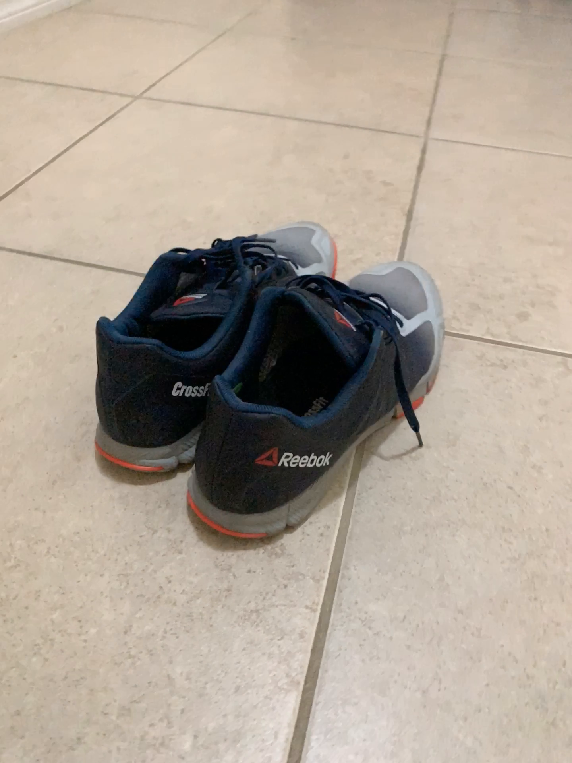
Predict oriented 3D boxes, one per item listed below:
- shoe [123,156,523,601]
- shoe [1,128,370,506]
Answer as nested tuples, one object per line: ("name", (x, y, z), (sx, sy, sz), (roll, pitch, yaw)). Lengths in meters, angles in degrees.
("shoe", (0.047, -0.030, 0.420), (0.109, 0.133, 0.317), (26, 48, 22))
("shoe", (-0.046, -0.074, 0.454), (0.104, 0.121, 0.307), (20, 46, 17))
